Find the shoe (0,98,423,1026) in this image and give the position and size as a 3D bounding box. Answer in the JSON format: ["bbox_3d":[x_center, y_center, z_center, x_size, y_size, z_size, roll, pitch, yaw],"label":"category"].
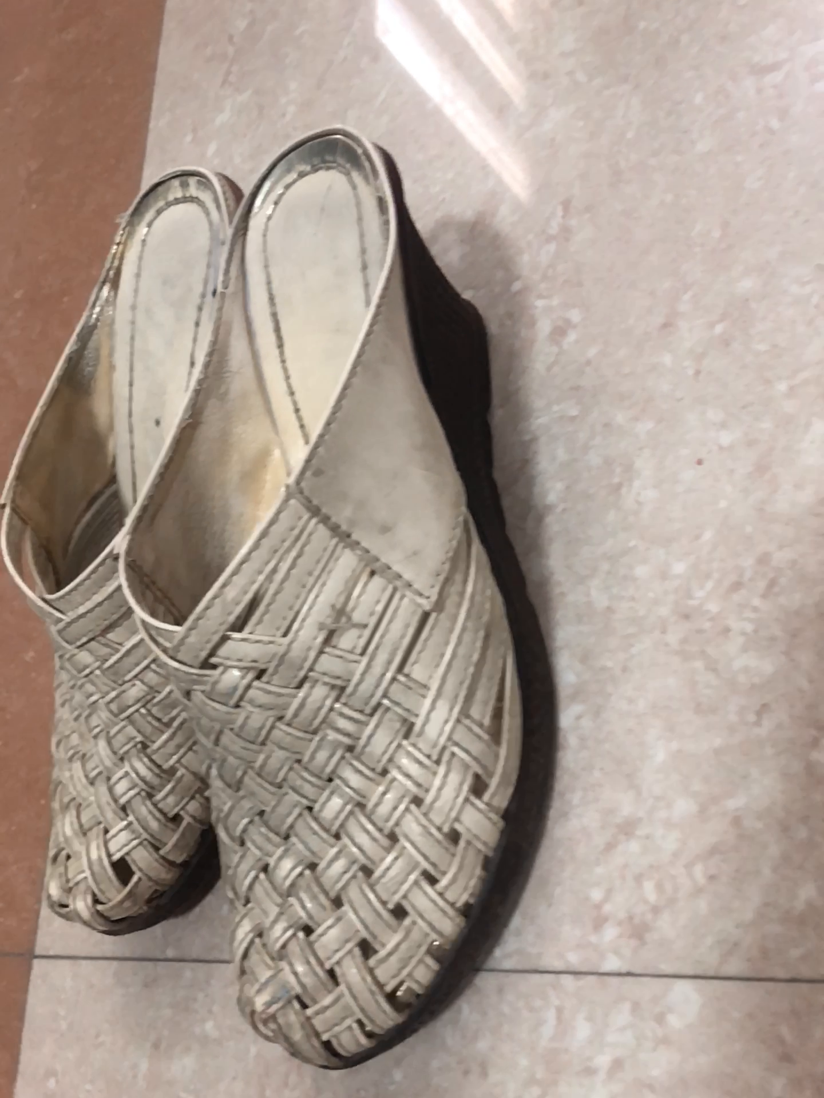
[{"bbox_3d":[-0.080,0.002,0.291,0.090,0.080,0.240,5,79,42],"label":"shoe"}]

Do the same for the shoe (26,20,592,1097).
[{"bbox_3d":[-0.019,0.009,0.241,0.090,0.080,0.240,-7,72,42],"label":"shoe"}]
